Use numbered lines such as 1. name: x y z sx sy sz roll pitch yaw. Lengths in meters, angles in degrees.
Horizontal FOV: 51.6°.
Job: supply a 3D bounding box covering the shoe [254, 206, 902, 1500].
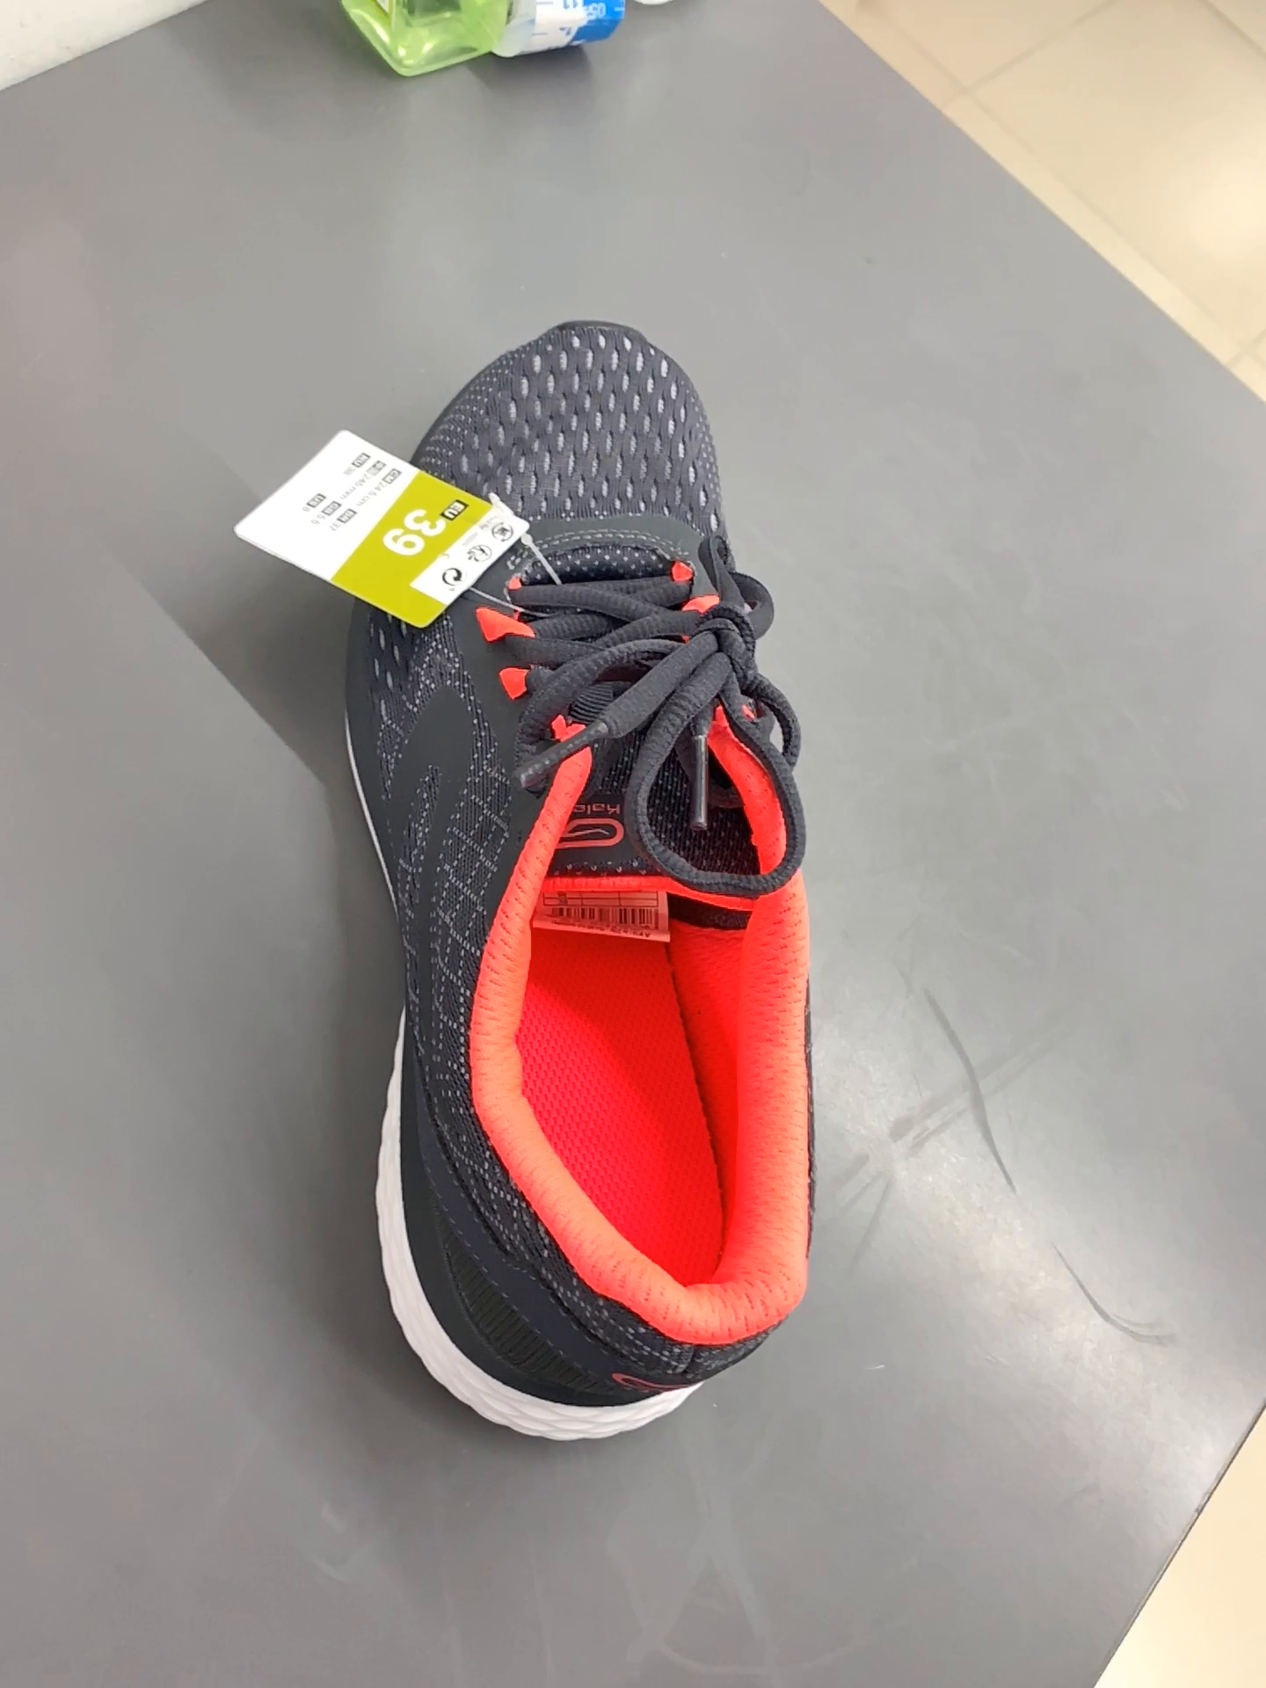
1. shoe: -0.020 0.001 0.317 0.110 0.110 0.270 4 68 -12
